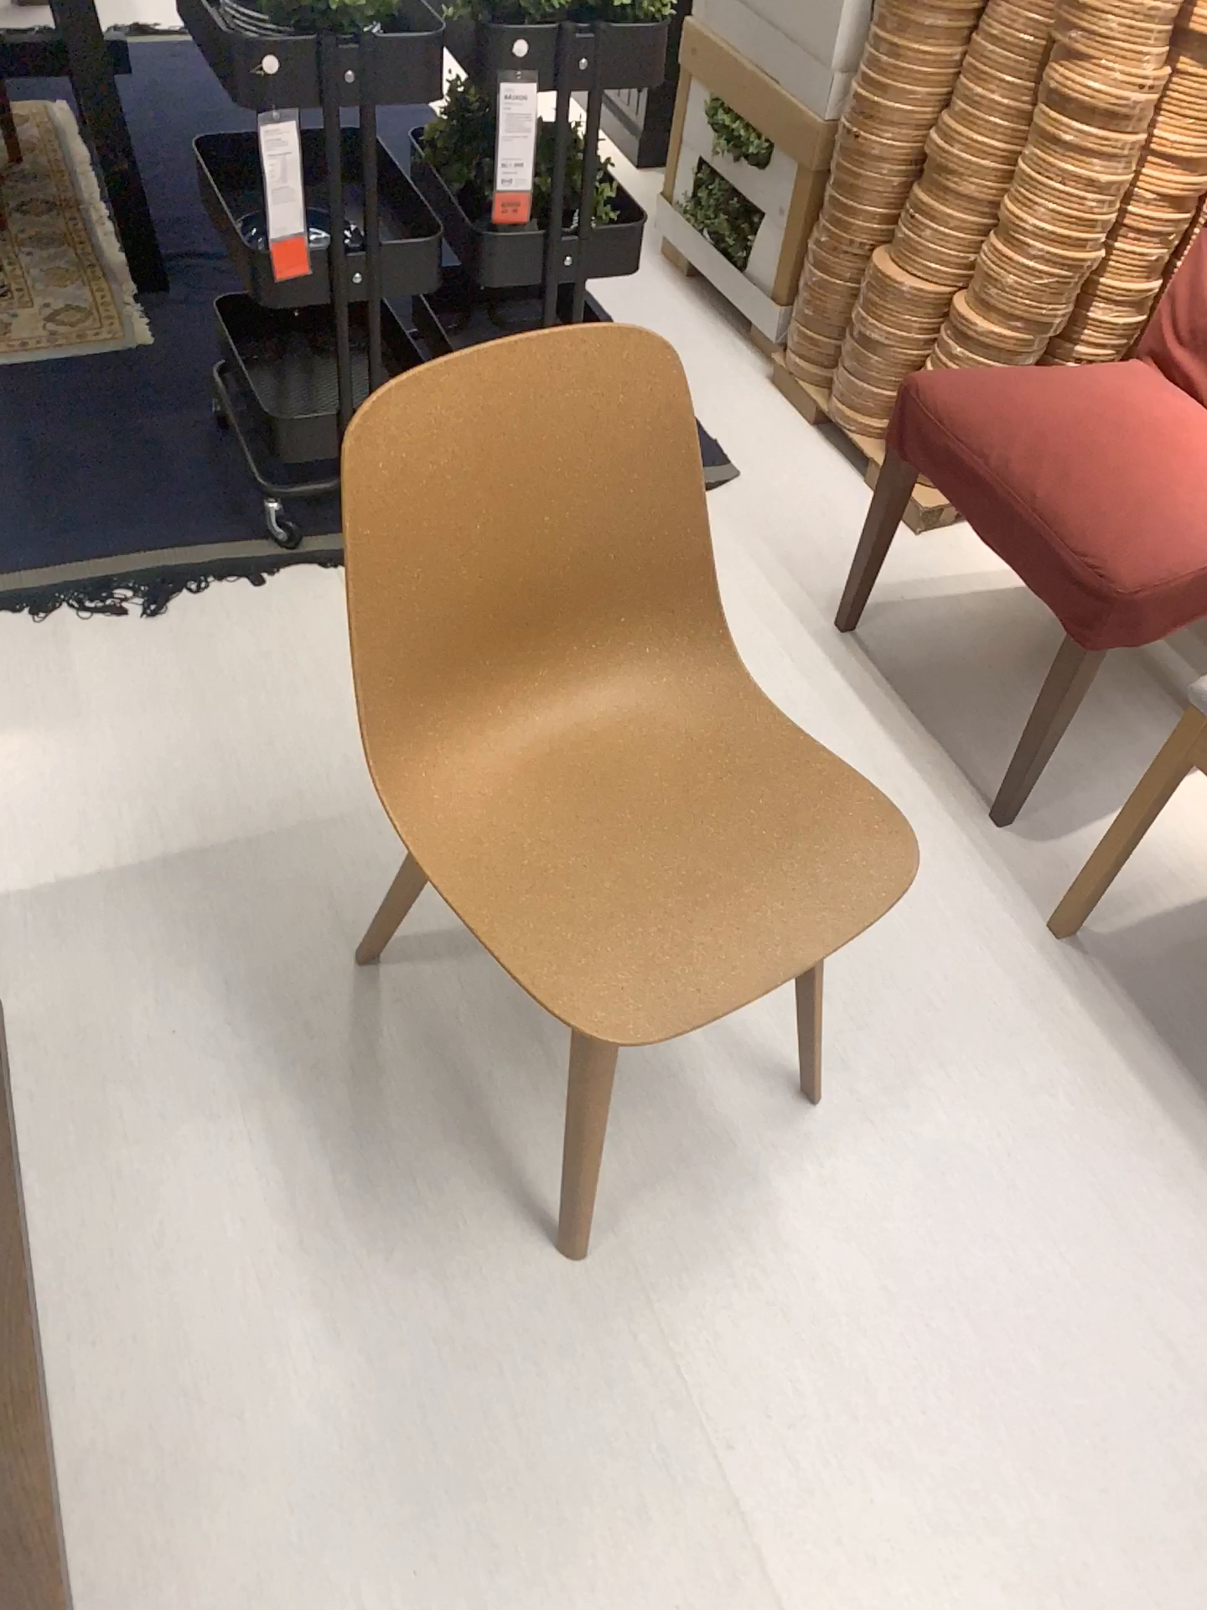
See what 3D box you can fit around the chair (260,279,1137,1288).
[{"bbox_3d":[0.024,-0.004,1.195,0.441,0.718,0.521,-25,56,-26],"label":"chair"}]
